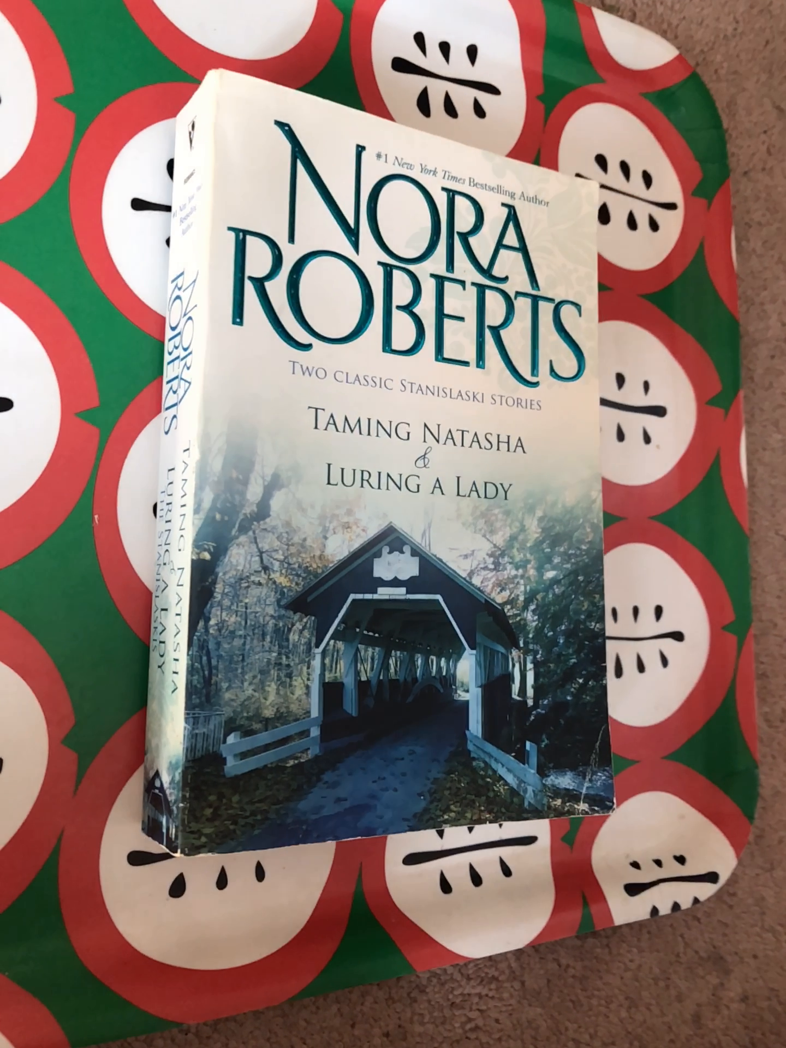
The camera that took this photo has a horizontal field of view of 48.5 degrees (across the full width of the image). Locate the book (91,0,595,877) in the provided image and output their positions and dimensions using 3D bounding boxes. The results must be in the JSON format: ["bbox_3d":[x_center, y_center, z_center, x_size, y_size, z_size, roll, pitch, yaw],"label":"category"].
[{"bbox_3d":[-0.009,-0.021,0.264,0.140,0.040,0.220,4,85,-27],"label":"book"}]
